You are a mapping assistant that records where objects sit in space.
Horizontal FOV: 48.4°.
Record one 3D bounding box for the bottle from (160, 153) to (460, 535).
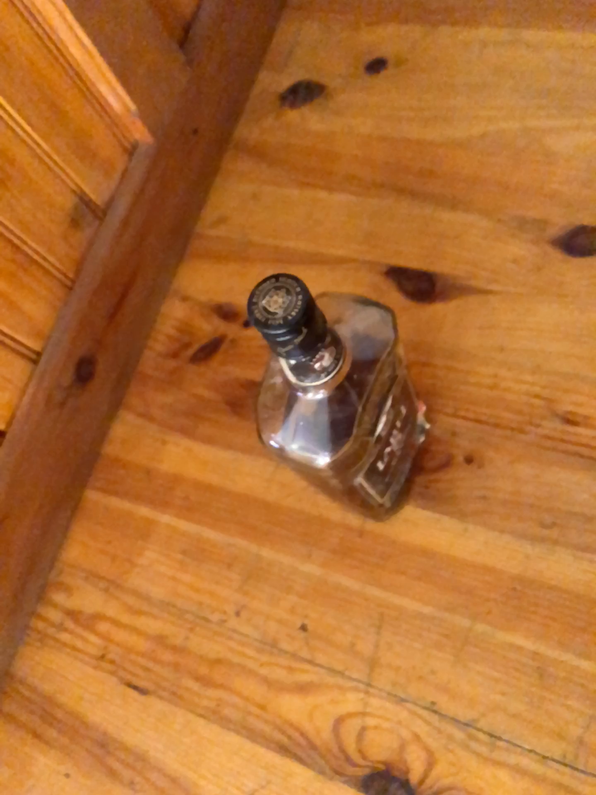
[{"bbox_3d":[0.037,-0.003,0.417,0.080,0.290,0.120,19,78,21],"label":"bottle"}]
